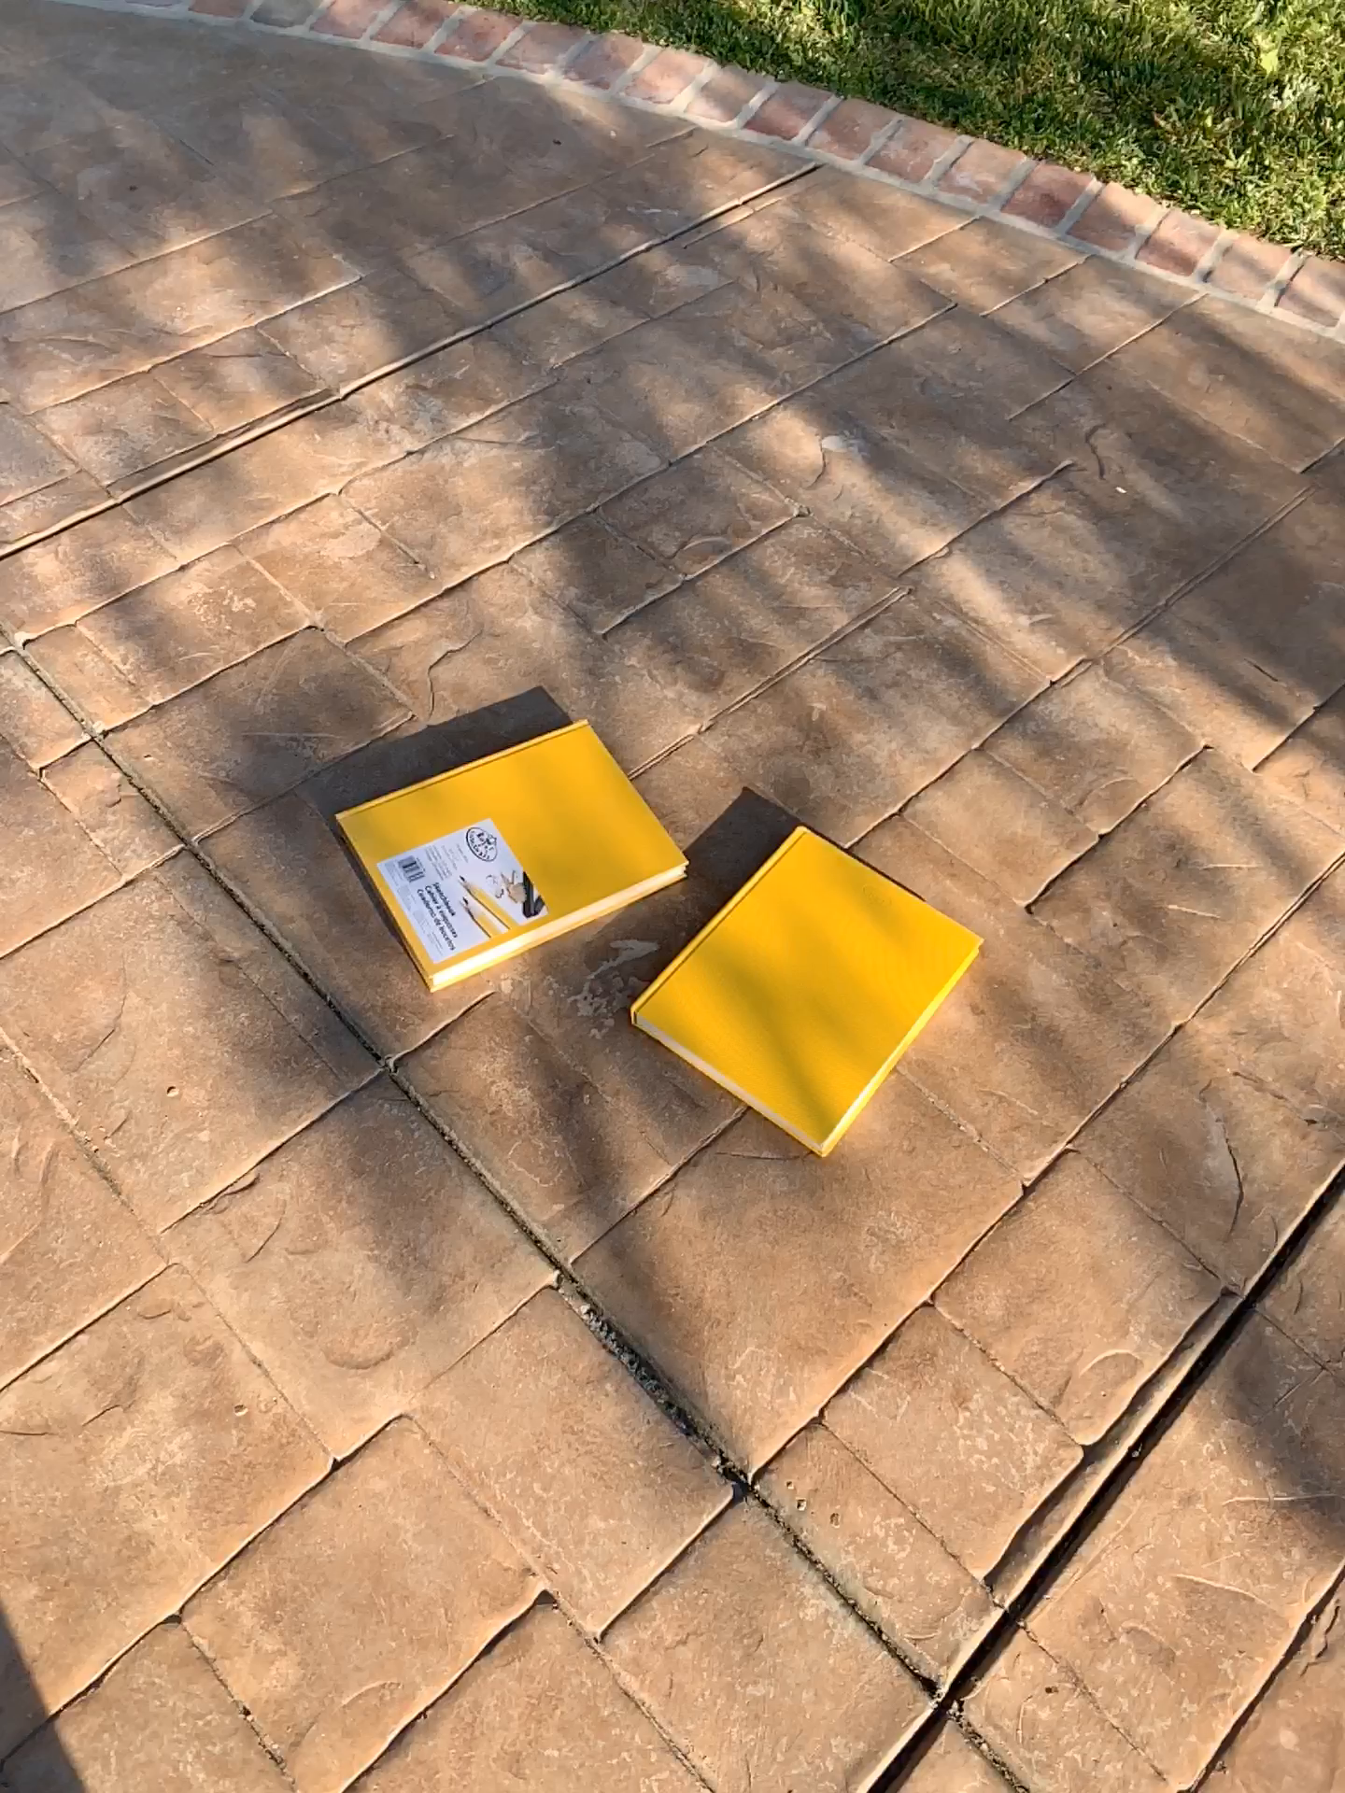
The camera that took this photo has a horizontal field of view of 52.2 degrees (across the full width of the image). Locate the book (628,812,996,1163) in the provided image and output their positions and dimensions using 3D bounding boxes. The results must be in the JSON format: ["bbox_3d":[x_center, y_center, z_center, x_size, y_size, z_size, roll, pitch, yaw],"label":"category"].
[{"bbox_3d":[0.137,0.077,1.330,0.230,0.040,0.291,33,60,18],"label":"book"}]

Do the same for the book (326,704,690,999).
[{"bbox_3d":[-0.167,-0.055,1.391,0.290,0.040,0.231,-25,60,-19],"label":"book"}]
